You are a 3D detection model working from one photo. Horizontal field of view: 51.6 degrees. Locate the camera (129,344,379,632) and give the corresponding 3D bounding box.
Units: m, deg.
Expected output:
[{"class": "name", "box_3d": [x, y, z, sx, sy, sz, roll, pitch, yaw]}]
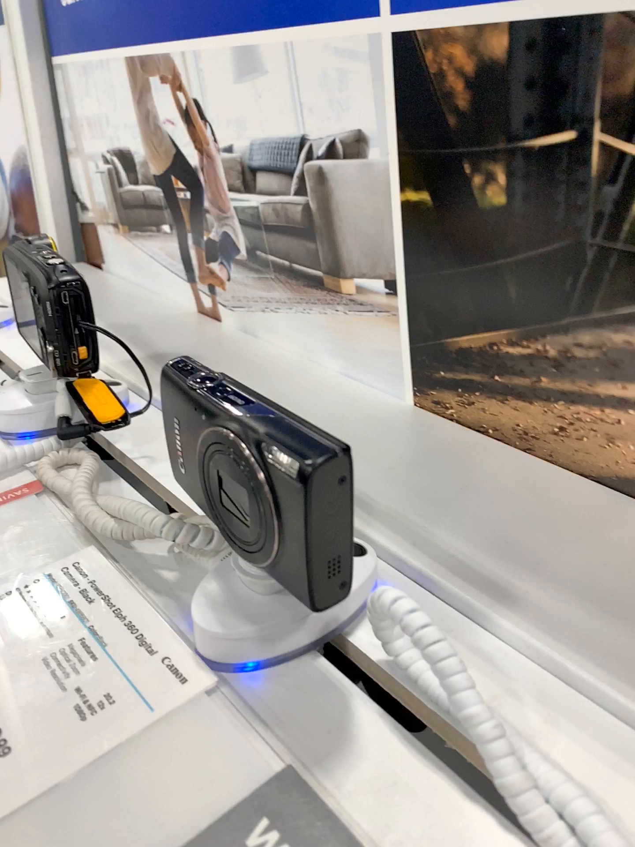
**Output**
[{"class": "camera", "box_3d": [-0.027, 0.016, 0.230, 0.027, 0.055, 0.106, -20, 33, -35]}]
